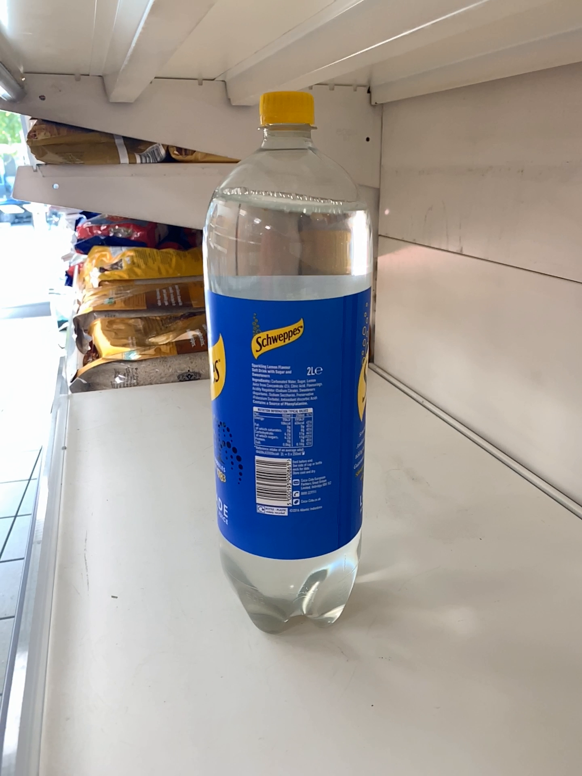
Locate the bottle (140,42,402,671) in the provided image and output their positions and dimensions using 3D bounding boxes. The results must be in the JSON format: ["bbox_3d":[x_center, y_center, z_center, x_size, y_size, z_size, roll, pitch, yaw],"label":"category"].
[{"bbox_3d":[0.001,-0.010,0.362,0.110,0.328,0.111,-1,19,0],"label":"bottle"}]
